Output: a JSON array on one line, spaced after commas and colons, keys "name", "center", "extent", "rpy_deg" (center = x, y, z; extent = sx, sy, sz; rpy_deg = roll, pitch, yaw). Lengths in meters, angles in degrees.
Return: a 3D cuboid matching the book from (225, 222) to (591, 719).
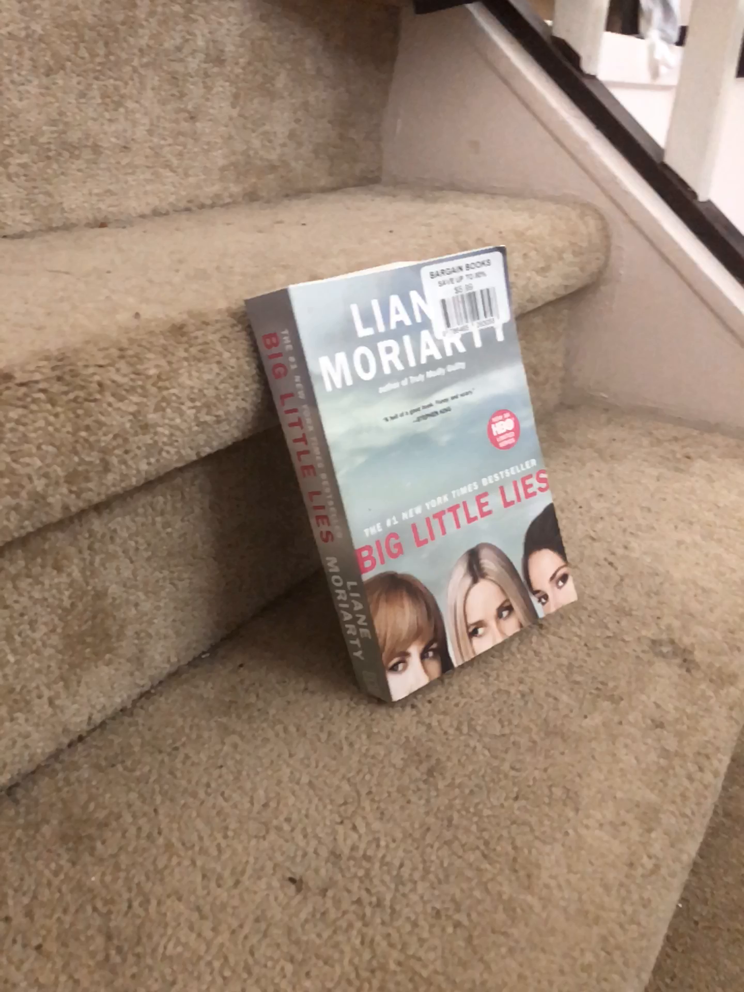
[{"name": "book", "center": [0.030, -0.023, 0.423], "extent": [0.160, 0.209, 0.050], "rpy_deg": [-22, 14, -40]}]
